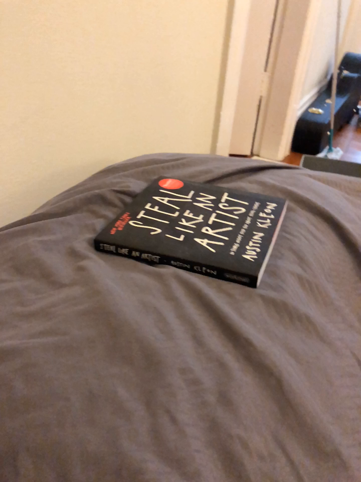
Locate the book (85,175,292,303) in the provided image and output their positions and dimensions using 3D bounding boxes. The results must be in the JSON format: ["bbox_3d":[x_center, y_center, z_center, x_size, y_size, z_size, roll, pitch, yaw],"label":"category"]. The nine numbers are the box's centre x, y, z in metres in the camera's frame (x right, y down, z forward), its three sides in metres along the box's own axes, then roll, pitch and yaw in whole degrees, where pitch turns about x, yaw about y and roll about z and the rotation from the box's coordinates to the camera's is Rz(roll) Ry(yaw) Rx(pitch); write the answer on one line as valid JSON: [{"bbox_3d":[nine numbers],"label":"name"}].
[{"bbox_3d":[0.018,-0.015,0.400,0.160,0.020,0.161,13,33,17],"label":"book"}]
